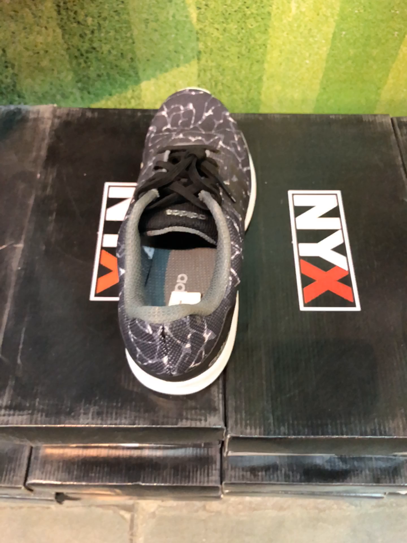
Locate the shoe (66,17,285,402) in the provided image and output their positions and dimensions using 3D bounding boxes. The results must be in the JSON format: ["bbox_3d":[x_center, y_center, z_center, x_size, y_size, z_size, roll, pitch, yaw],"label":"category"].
[{"bbox_3d":[-0.005,-0.053,0.342,0.108,0.122,0.262,3,60,2],"label":"shoe"}]
